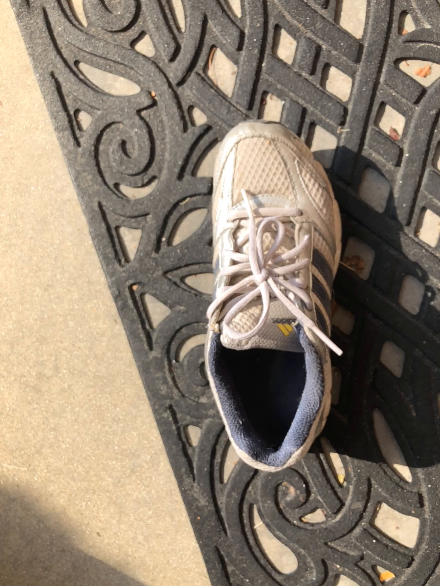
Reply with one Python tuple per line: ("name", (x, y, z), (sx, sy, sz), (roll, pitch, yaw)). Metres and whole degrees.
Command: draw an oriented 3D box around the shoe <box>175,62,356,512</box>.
("shoe", (0.042, -0.002, 0.359), (0.100, 0.130, 0.260), (-2, 93, 14))
